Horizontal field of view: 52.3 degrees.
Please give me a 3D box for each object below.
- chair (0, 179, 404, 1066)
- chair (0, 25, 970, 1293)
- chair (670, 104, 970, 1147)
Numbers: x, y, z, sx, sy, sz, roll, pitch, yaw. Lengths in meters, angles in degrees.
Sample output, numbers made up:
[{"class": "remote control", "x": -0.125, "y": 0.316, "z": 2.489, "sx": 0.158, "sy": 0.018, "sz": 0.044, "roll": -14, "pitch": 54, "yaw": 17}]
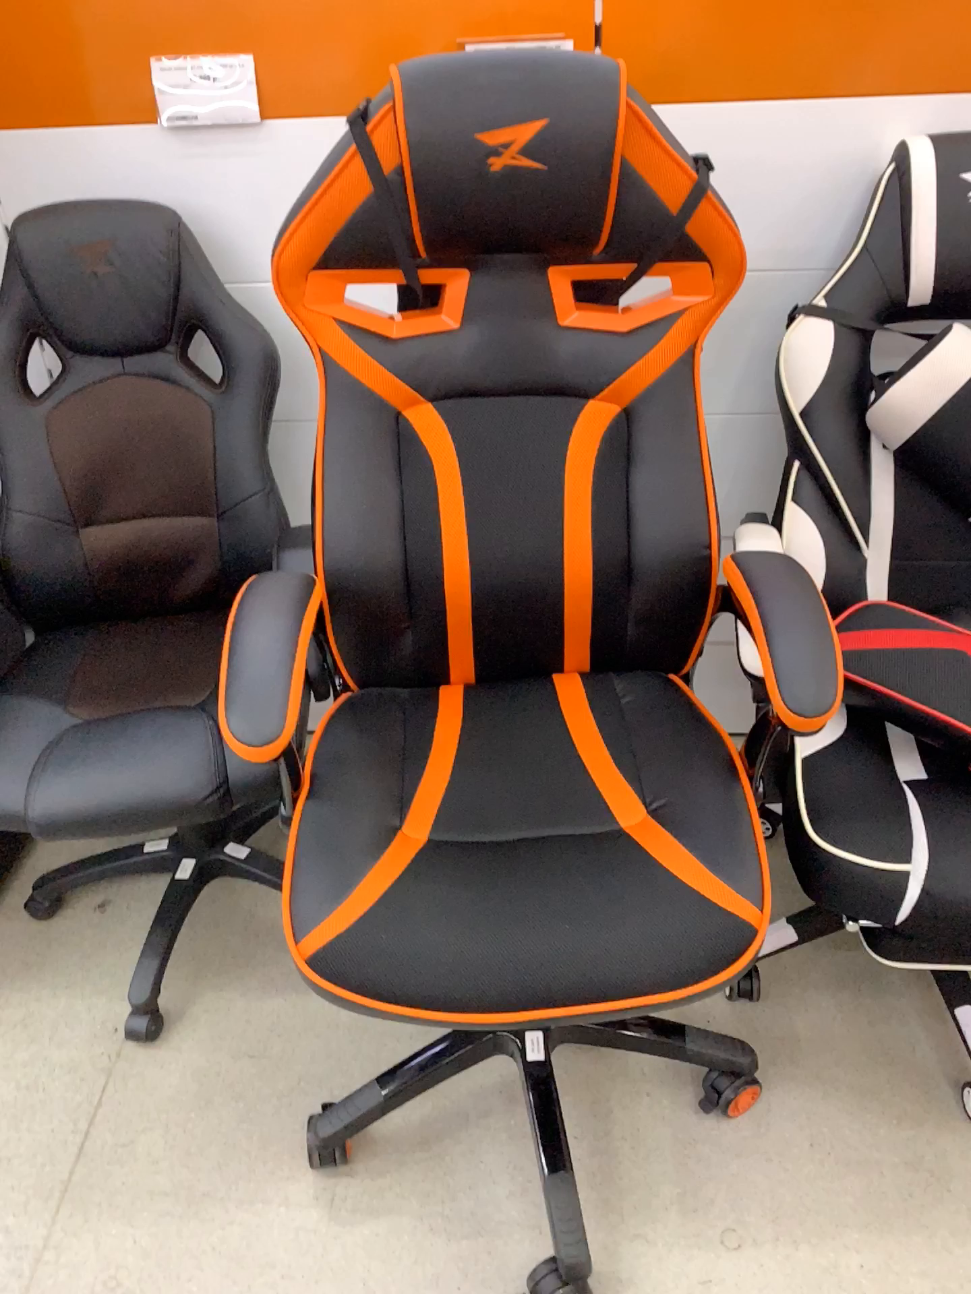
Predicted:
[{"class": "chair", "x": -0.626, "y": -0.007, "z": 1.733, "sx": 0.820, "sy": 1.323, "sz": 0.724, "roll": -4, "pitch": 35, "yaw": 0}, {"class": "chair", "x": 0.042, "y": 0.095, "z": 1.150, "sx": 0.720, "sy": 1.313, "sz": 0.734, "roll": 0, "pitch": 35, "yaw": 4}, {"class": "chair", "x": 0.804, "y": -0.030, "z": 1.427, "sx": 0.850, "sy": 1.193, "sz": 0.825, "roll": -4, "pitch": 35, "yaw": 0}]
